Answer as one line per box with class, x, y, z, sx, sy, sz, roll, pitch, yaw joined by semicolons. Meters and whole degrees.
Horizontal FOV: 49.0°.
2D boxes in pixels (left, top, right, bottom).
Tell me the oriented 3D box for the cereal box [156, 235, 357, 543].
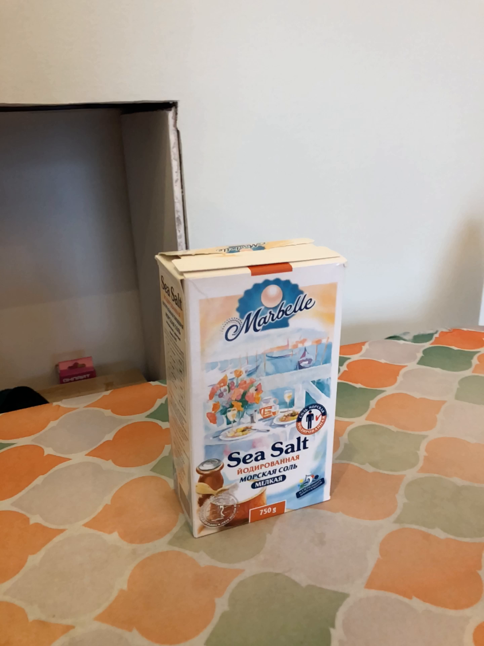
cereal box;0.006;0.038;0.336;0.100;0.169;0.060;-8;22;-20
